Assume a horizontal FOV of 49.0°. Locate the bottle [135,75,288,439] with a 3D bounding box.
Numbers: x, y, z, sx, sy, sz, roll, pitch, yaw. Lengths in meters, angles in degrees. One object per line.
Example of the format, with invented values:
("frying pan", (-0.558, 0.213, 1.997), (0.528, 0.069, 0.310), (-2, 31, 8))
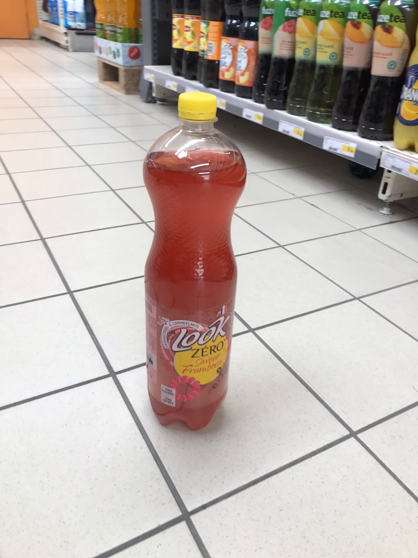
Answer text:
("bottle", (-0.012, -0.007, 0.433), (0.100, 0.328, 0.090), (-3, 30, -13))
